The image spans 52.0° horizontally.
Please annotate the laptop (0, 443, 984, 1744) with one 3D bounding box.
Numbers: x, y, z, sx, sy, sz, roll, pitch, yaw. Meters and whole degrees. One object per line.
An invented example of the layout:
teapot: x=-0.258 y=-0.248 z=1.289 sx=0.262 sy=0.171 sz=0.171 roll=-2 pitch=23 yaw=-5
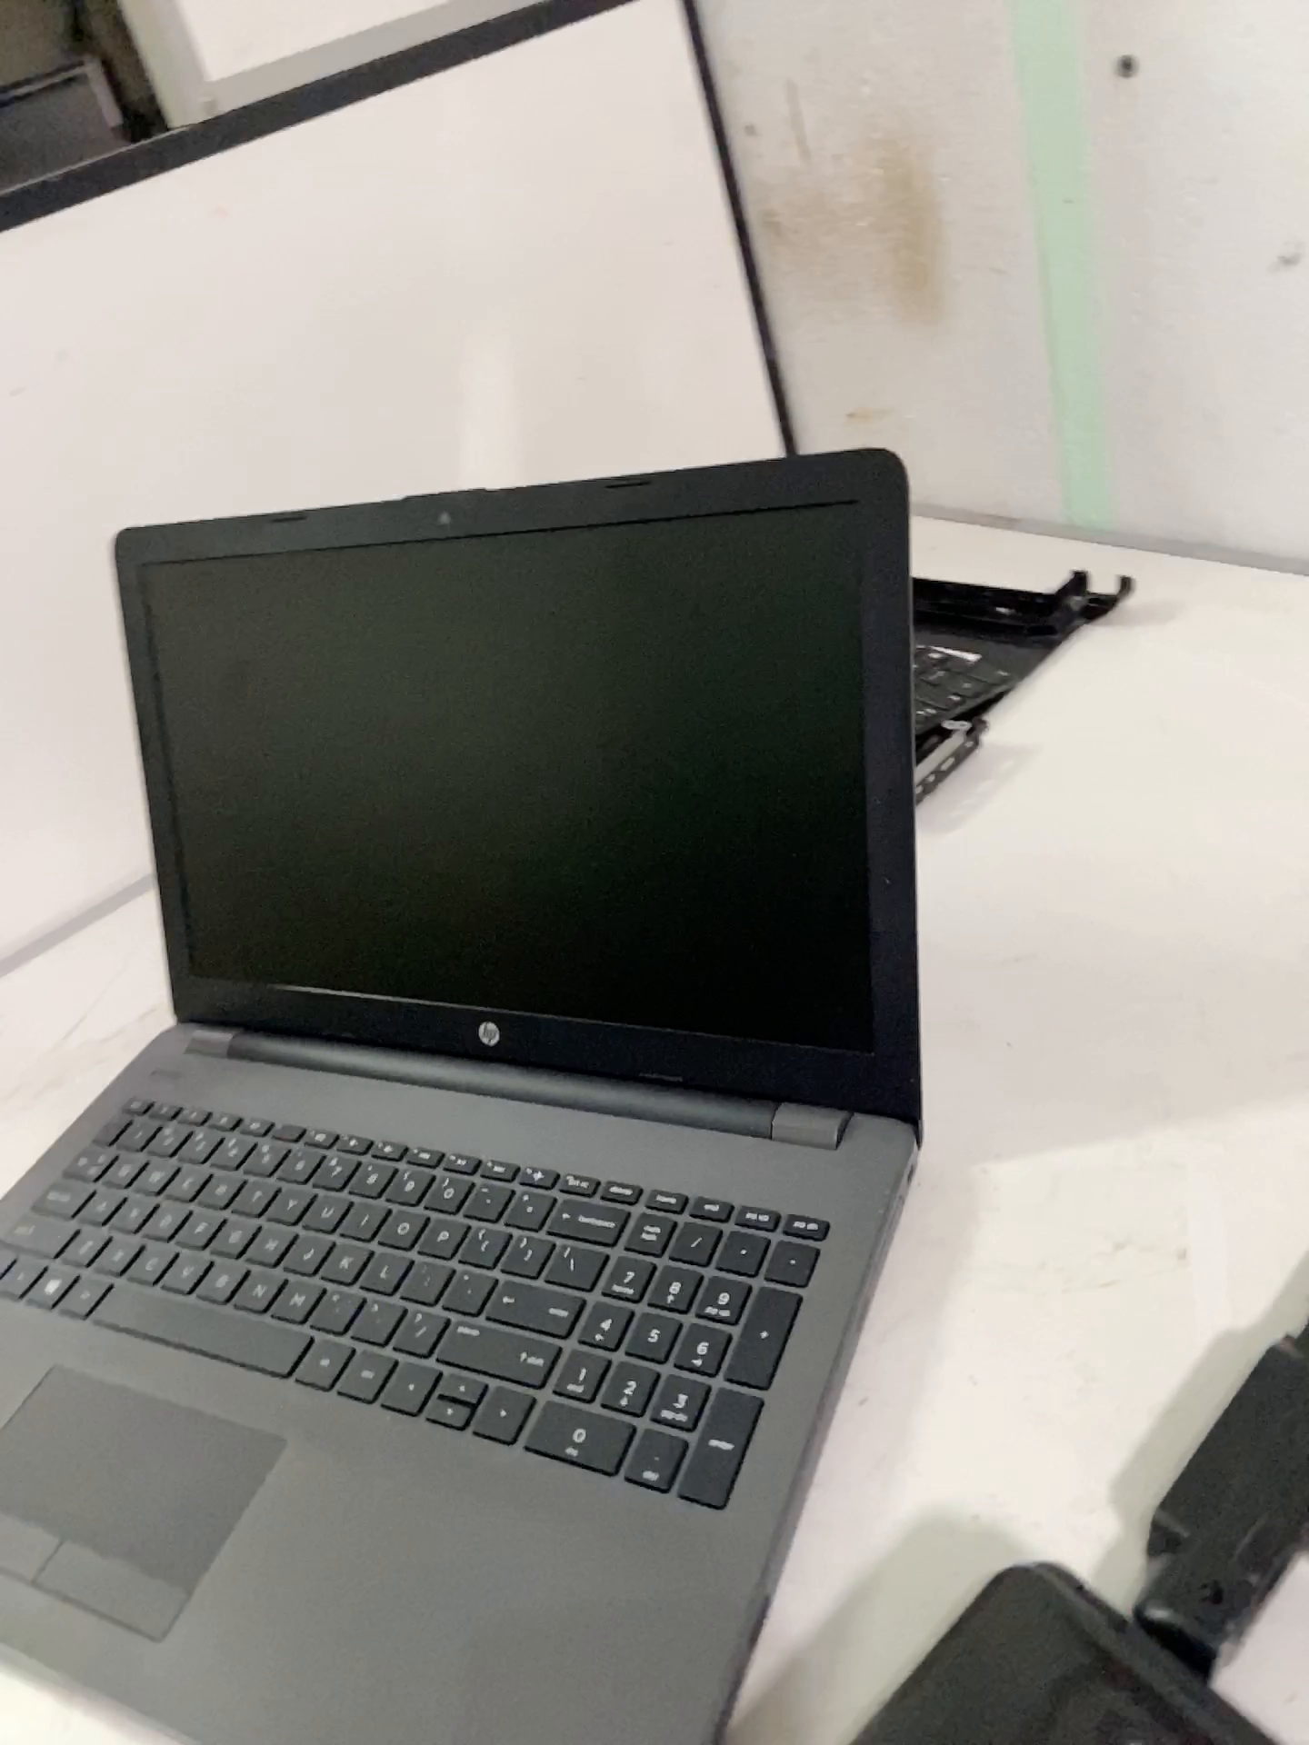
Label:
laptop: x=-0.129 y=0.045 z=0.472 sx=0.380 sy=0.206 sz=0.366 roll=2 pitch=40 yaw=29
